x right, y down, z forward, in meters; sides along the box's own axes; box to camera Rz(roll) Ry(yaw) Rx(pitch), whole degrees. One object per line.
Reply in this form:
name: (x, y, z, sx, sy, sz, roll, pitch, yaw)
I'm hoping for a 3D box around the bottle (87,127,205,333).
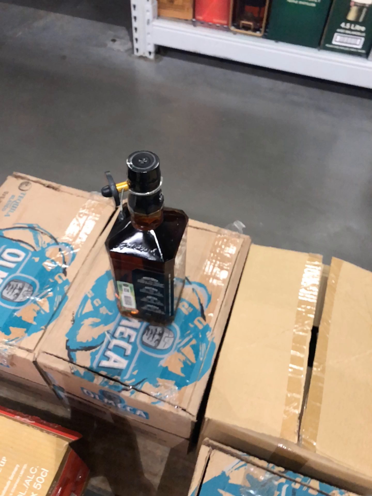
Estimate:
bottle: (-0.049, -0.006, 0.606, 0.110, 0.308, 0.111, 1, 52, -1)
